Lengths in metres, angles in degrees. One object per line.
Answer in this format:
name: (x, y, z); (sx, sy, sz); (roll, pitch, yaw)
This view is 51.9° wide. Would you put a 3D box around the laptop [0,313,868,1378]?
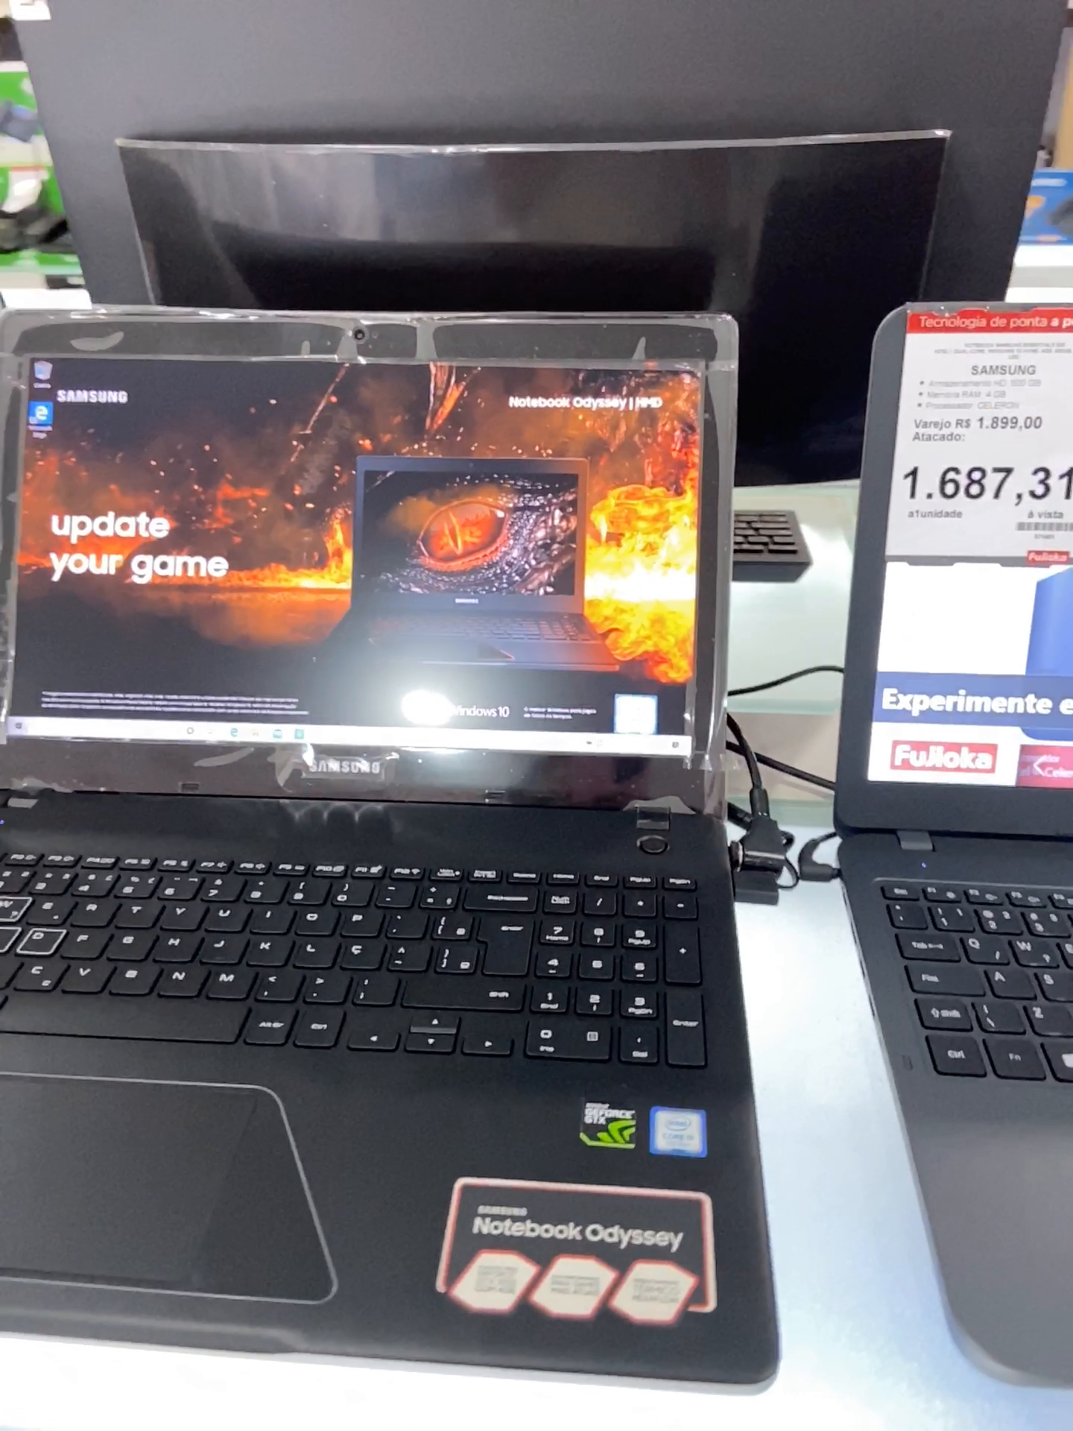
laptop: (-0.106, -0.015, 0.431); (0.373, 0.202, 0.393); (2, 30, 5)
